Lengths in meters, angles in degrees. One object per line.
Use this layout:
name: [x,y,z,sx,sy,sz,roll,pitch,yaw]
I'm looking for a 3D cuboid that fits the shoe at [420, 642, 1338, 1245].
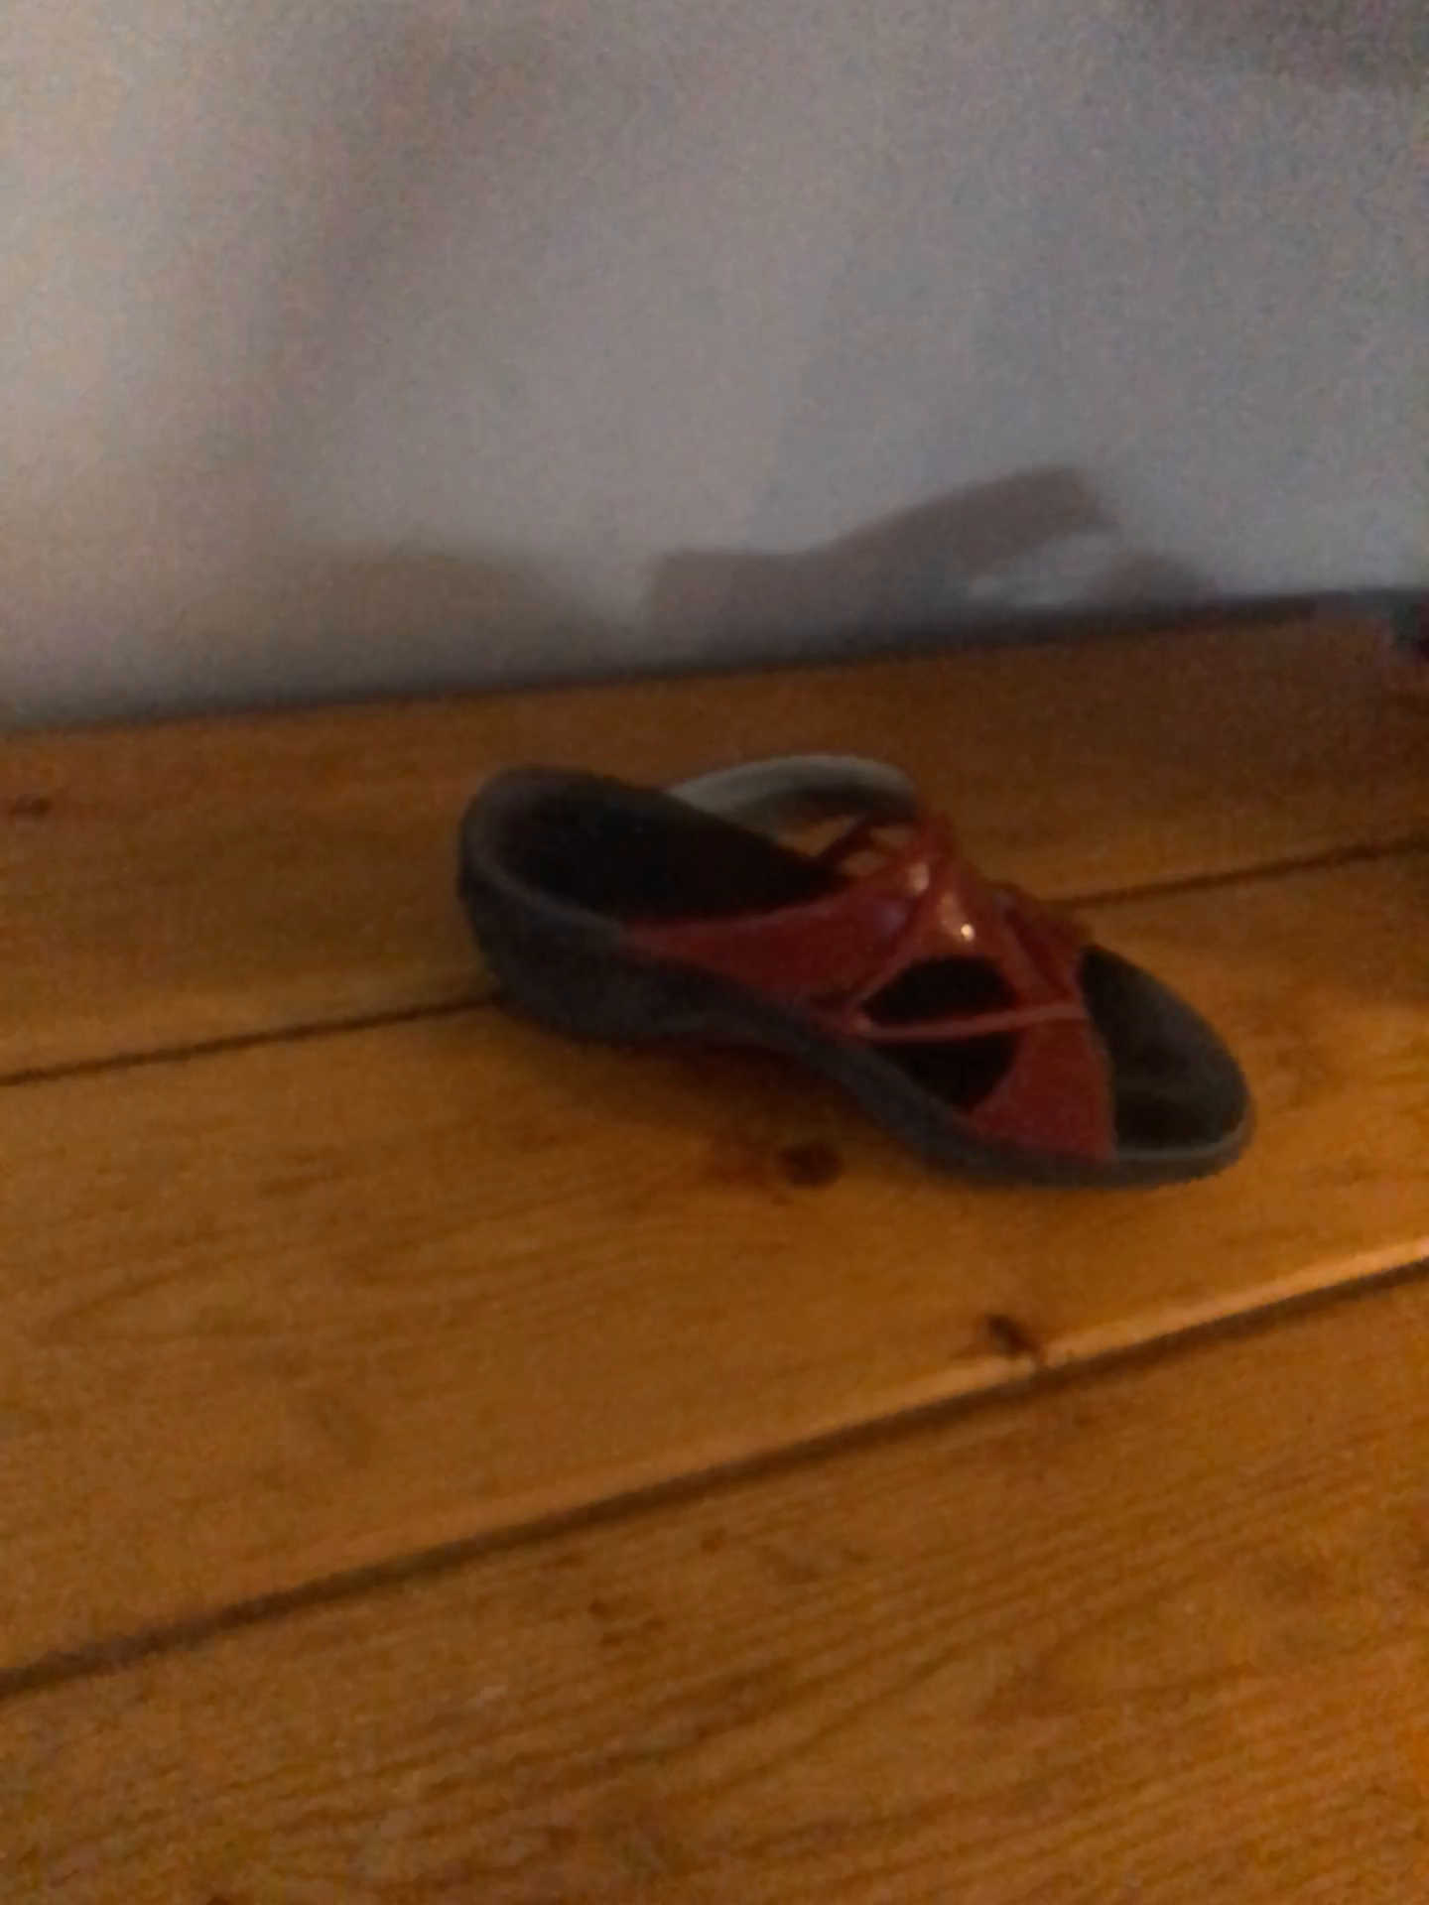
shoe: [0.049,-0.005,0.487,0.250,0.070,0.100,16,46,0]
